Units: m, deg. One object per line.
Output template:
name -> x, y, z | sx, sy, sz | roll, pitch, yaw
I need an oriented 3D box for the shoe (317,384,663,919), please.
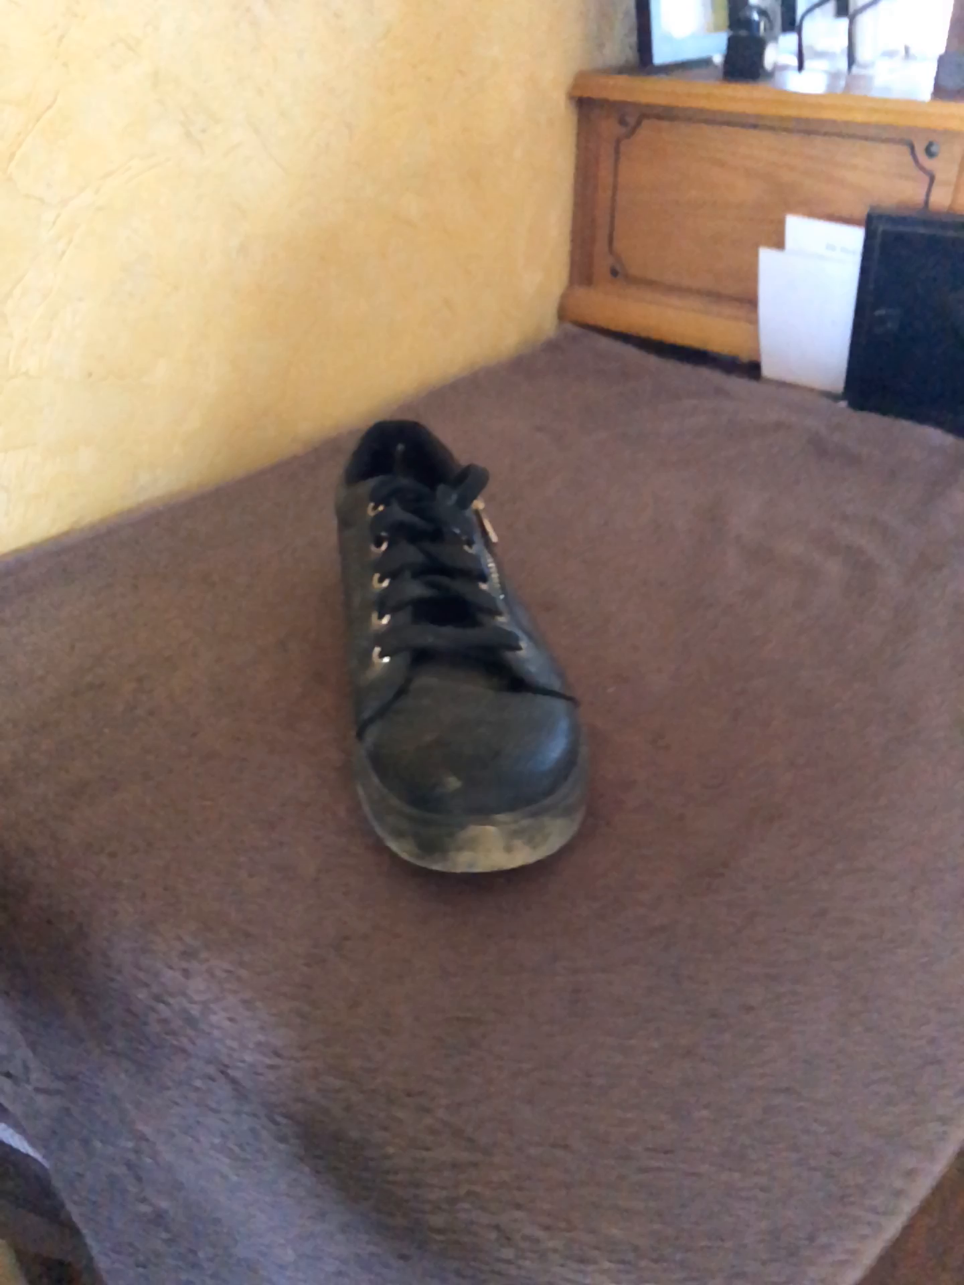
shoe -> -0.014, -0.020, 0.461 | 0.100, 0.089, 0.271 | -4, 33, -8
